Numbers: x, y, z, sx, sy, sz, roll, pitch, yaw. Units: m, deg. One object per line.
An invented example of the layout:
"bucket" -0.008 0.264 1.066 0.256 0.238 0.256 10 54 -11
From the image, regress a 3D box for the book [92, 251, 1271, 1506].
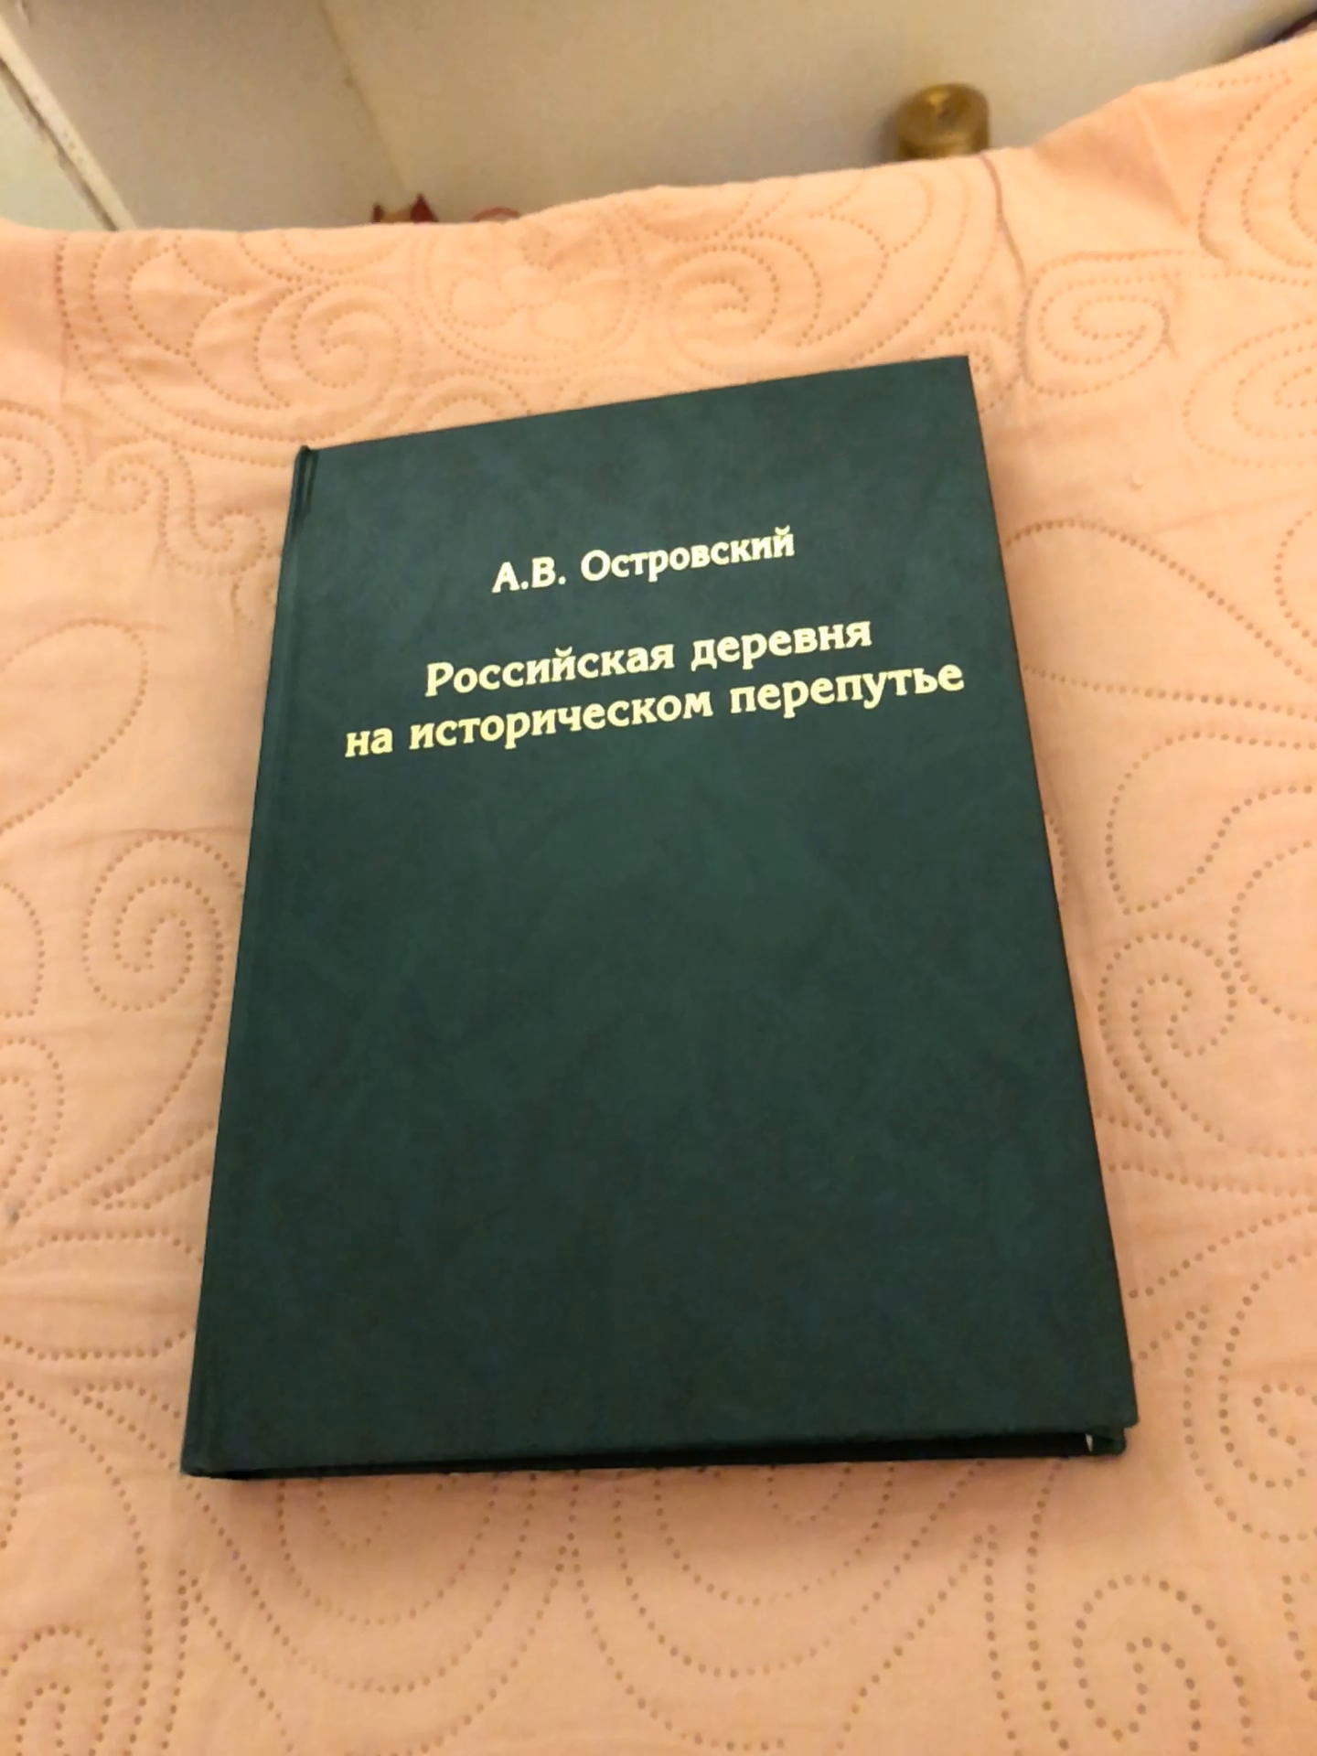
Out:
"book" -0.001 -0.010 0.291 0.180 0.040 0.241 -6 63 9
